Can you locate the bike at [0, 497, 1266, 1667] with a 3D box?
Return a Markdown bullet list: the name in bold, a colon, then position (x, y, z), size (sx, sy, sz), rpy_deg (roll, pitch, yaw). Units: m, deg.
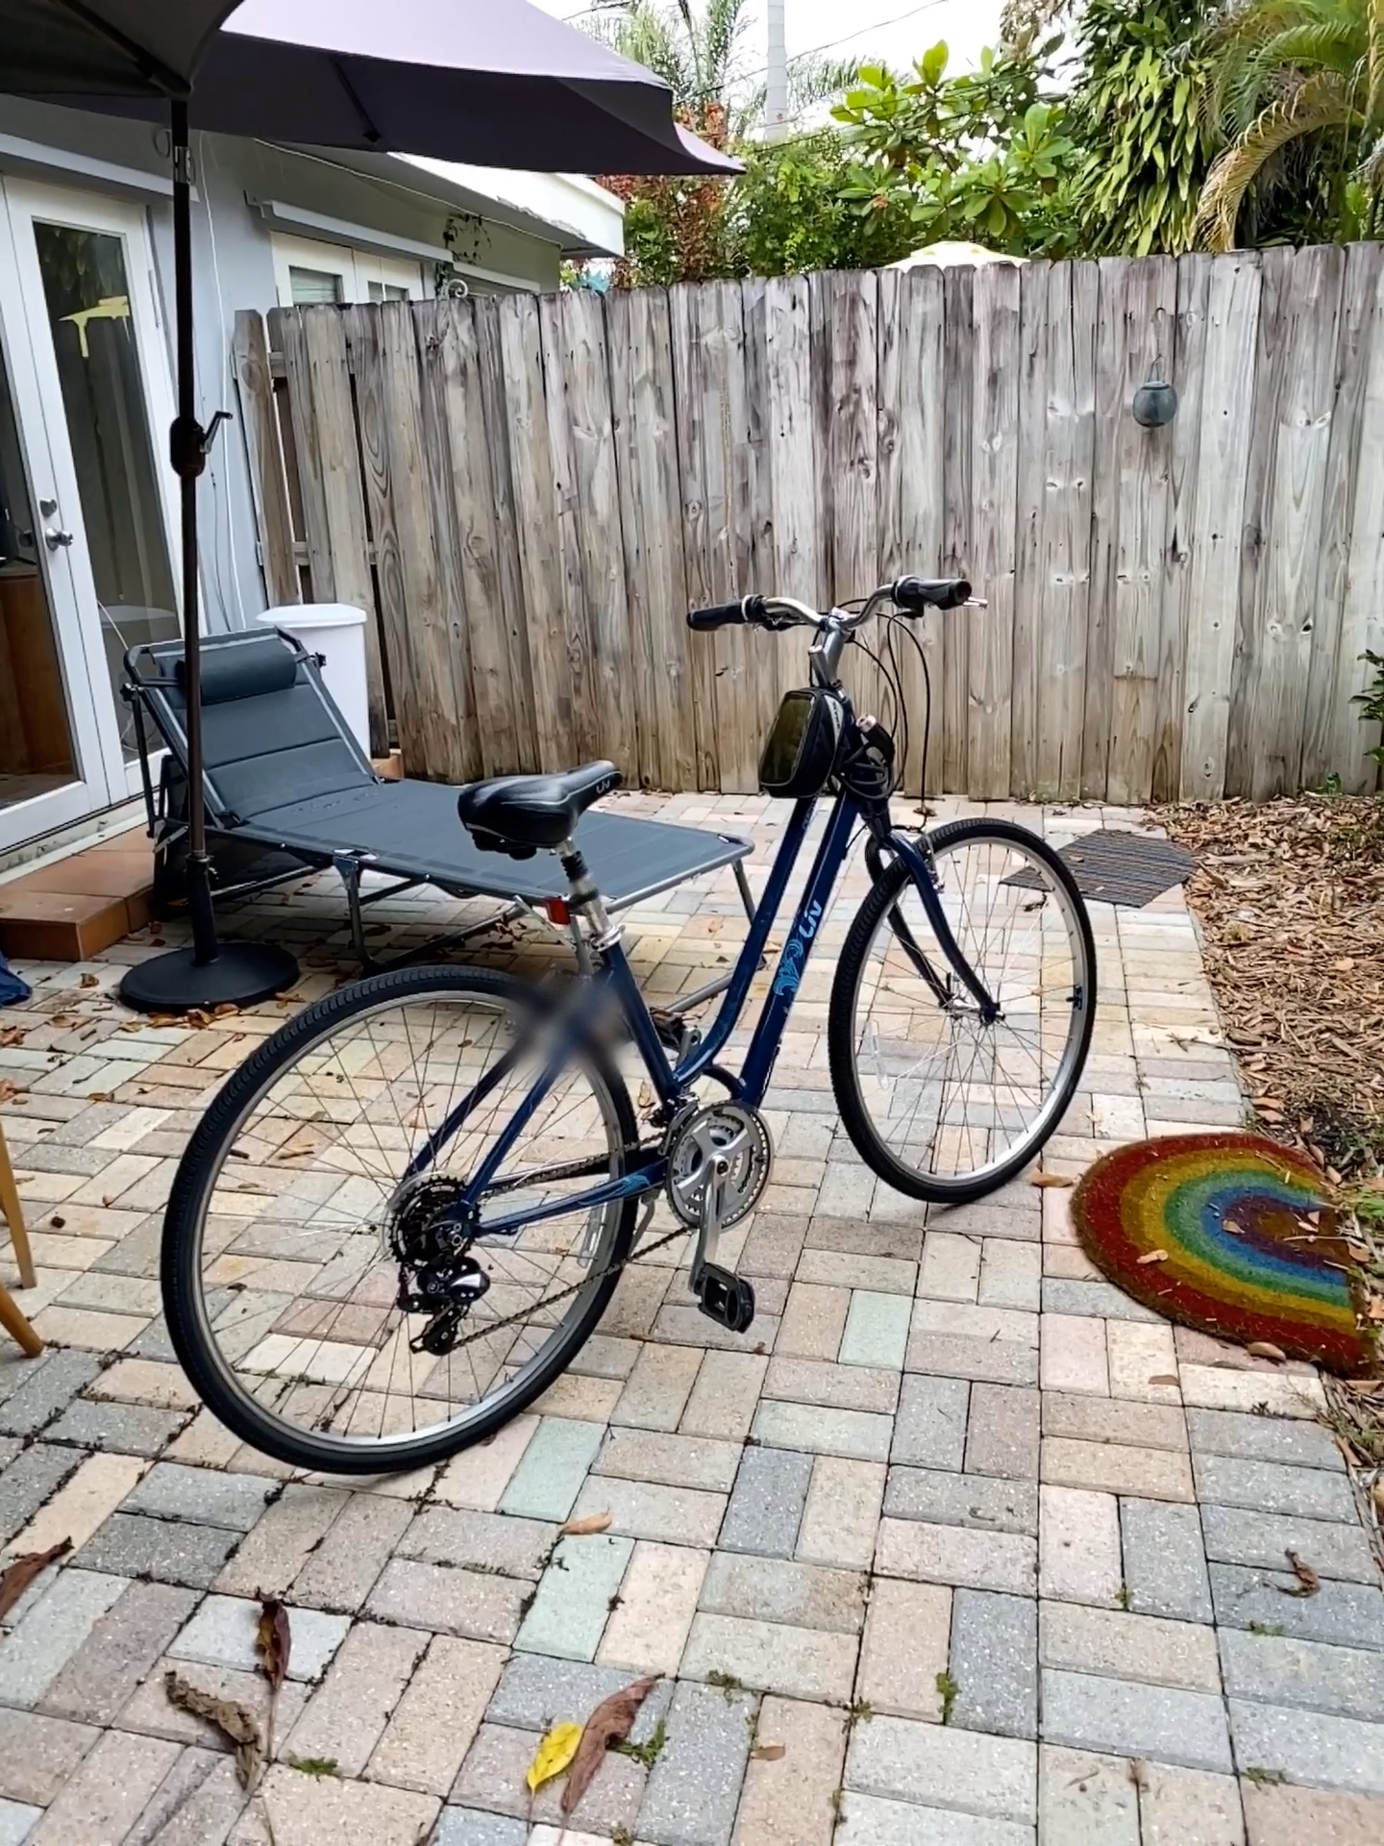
- **bike**: position (0.040, 0.024, 2.085), size (1.692, 1.067, 0.596), rpy_deg (-19, 24, -34)
